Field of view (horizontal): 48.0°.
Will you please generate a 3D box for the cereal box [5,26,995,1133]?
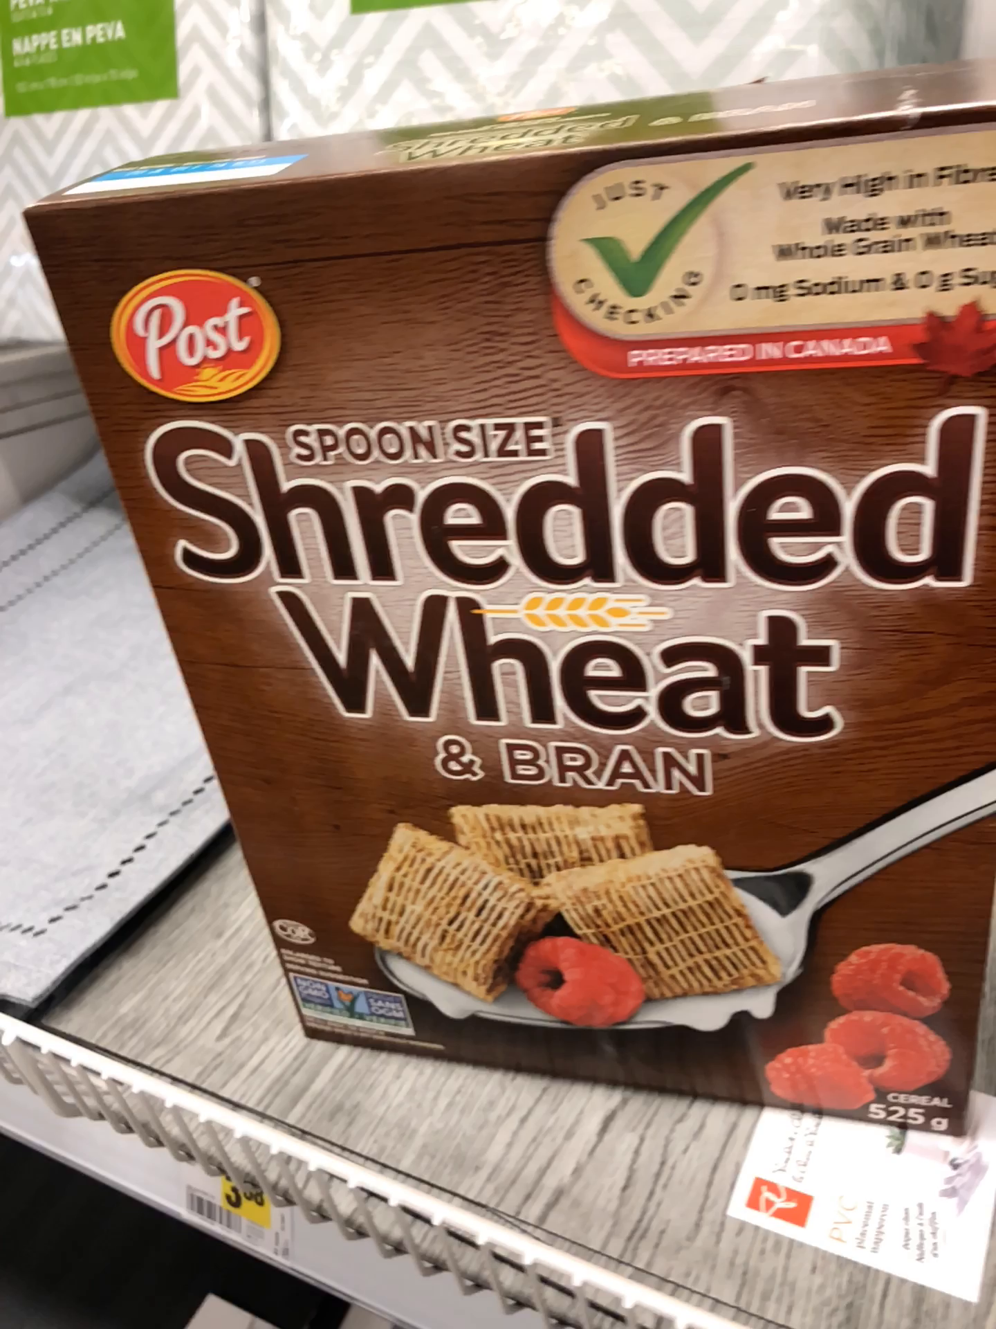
[{"bbox_3d":[0.022,-0.004,0.293,0.200,0.259,0.070,3,34,17],"label":"cereal box"}]
